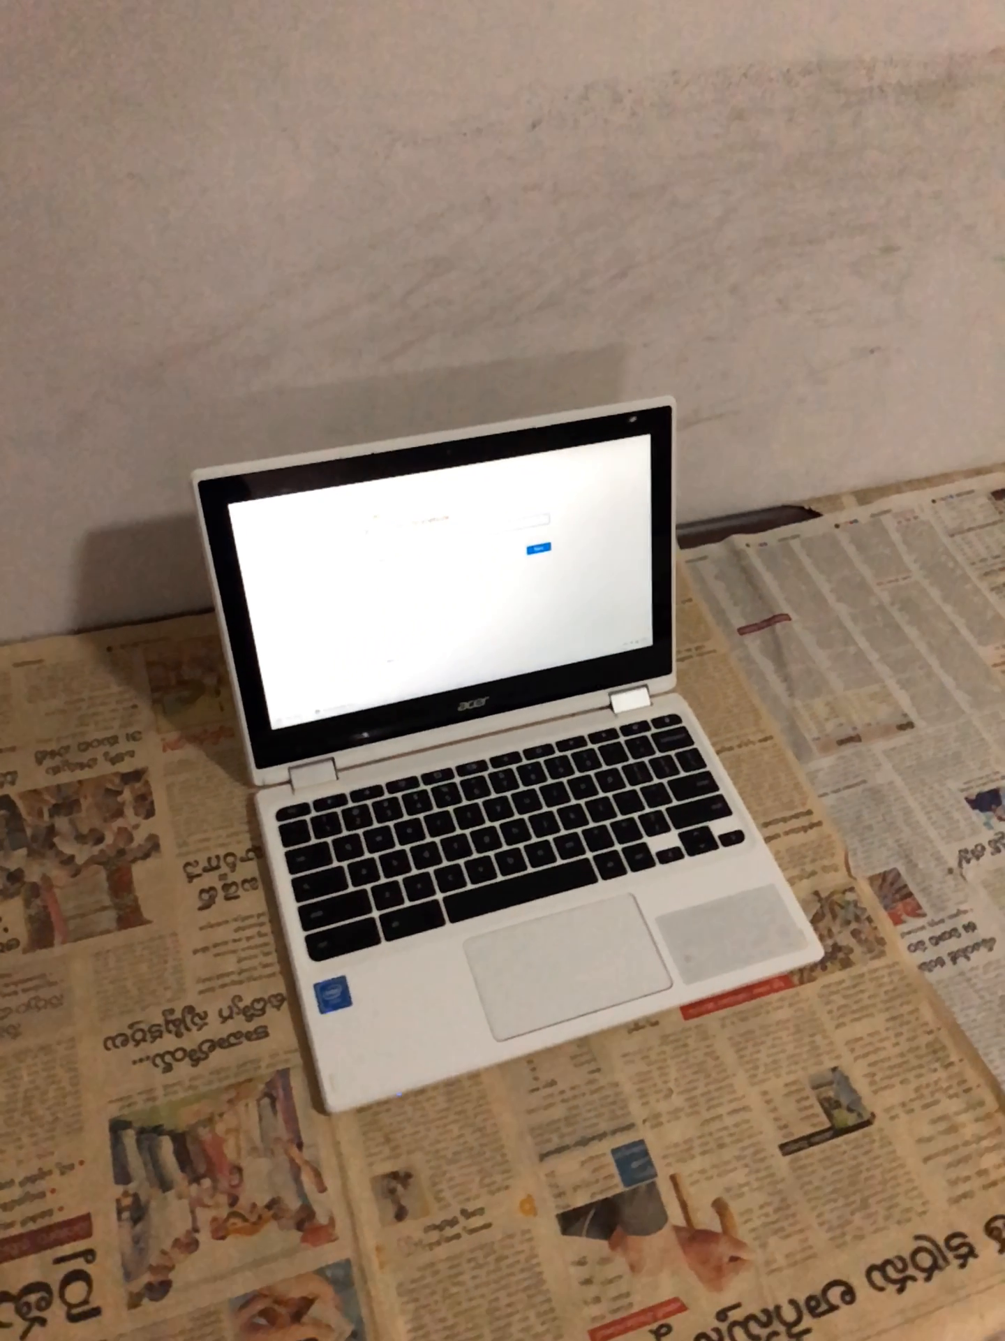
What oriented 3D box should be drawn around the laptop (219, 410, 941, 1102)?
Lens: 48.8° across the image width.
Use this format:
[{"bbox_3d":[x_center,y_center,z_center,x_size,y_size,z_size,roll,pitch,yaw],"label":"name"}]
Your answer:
[{"bbox_3d":[0.015,0.029,0.598,0.268,0.168,0.279,-12,52,-15],"label":"laptop"}]
